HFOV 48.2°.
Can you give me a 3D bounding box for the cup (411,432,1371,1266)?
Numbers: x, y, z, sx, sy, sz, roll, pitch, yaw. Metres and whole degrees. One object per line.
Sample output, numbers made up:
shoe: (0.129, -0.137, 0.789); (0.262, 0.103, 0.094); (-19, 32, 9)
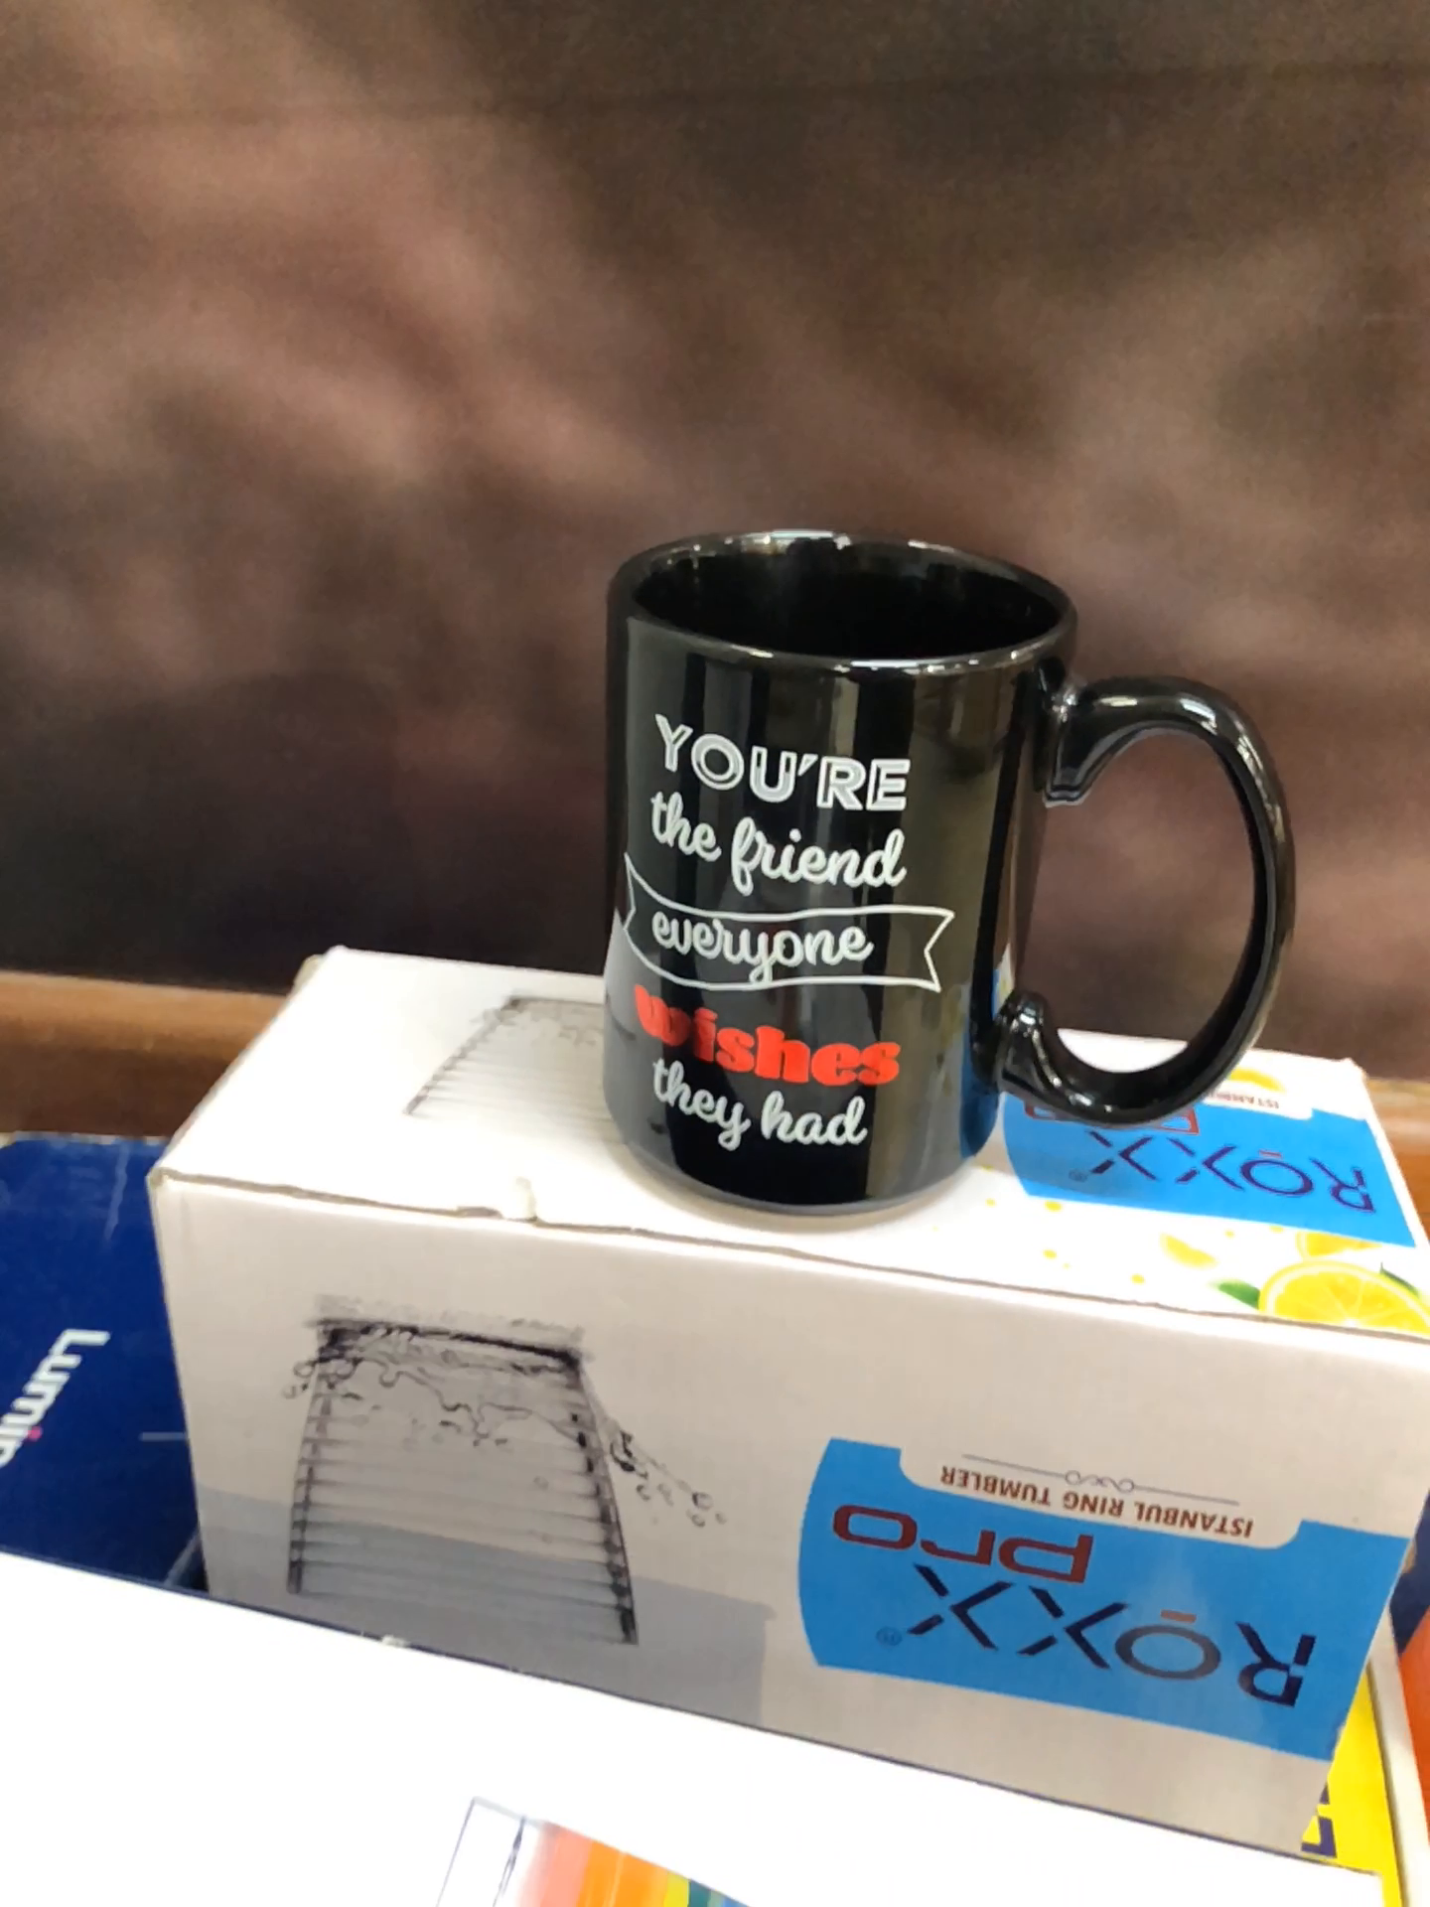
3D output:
cup: (0.031, -0.026, 0.279); (0.130, 0.109, 0.091); (5, 26, 12)
